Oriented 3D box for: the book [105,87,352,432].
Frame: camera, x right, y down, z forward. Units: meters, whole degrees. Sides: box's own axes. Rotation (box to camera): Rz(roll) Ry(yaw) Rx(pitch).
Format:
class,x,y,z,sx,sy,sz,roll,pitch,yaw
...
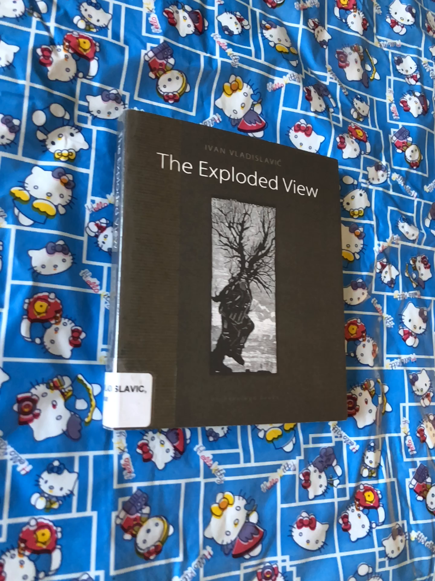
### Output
class,x,y,z,sx,sy,sz,roll,pitch,yaw
book,0.014,-0.012,0.274,0.140,0.020,0.170,5,82,-25
